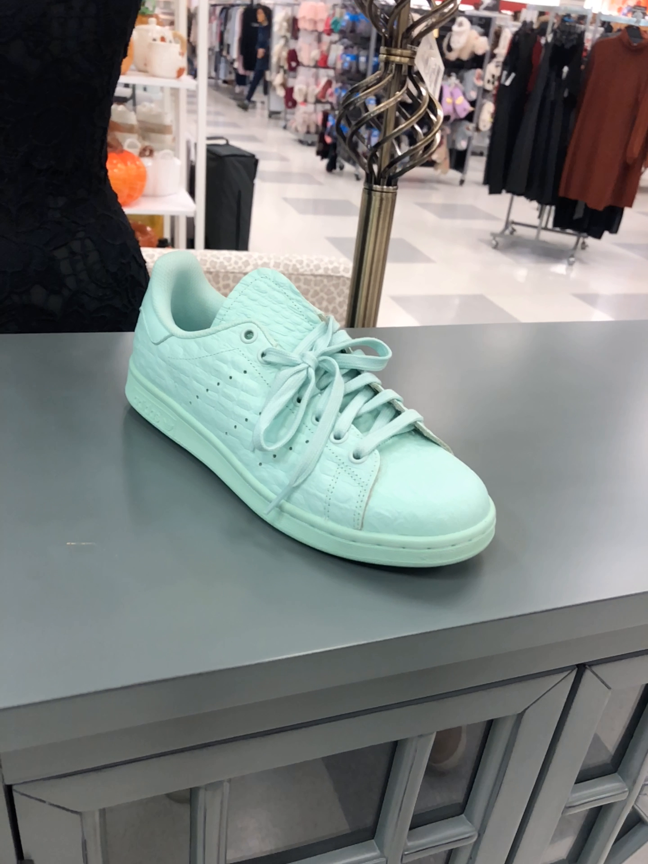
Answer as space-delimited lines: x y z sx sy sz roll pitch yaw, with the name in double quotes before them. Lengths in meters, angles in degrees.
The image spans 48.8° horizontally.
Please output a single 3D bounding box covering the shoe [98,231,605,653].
"shoe" -0.003 -0.018 0.391 0.252 0.112 0.107 28 35 34
